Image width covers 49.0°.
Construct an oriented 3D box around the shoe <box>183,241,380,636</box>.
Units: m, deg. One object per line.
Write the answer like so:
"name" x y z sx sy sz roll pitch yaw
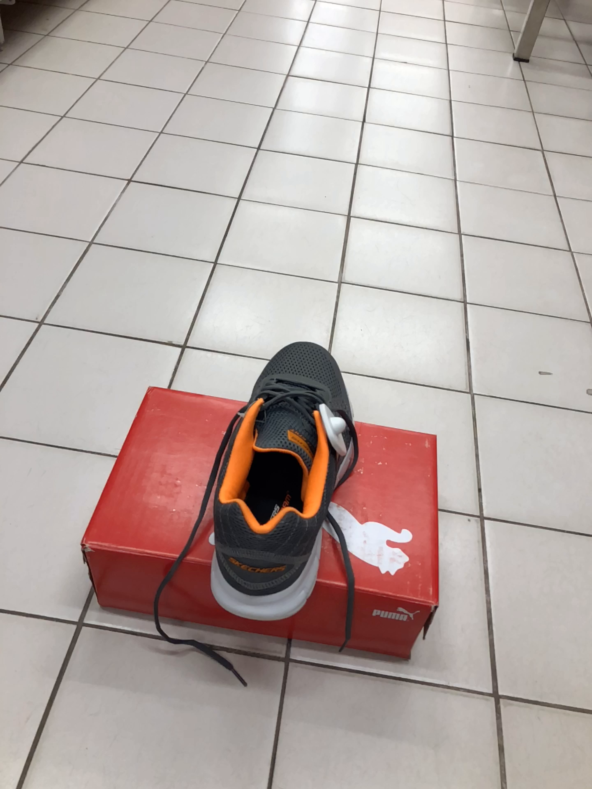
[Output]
"shoe" -0.002 0.021 0.565 0.110 0.139 0.312 10 46 1
